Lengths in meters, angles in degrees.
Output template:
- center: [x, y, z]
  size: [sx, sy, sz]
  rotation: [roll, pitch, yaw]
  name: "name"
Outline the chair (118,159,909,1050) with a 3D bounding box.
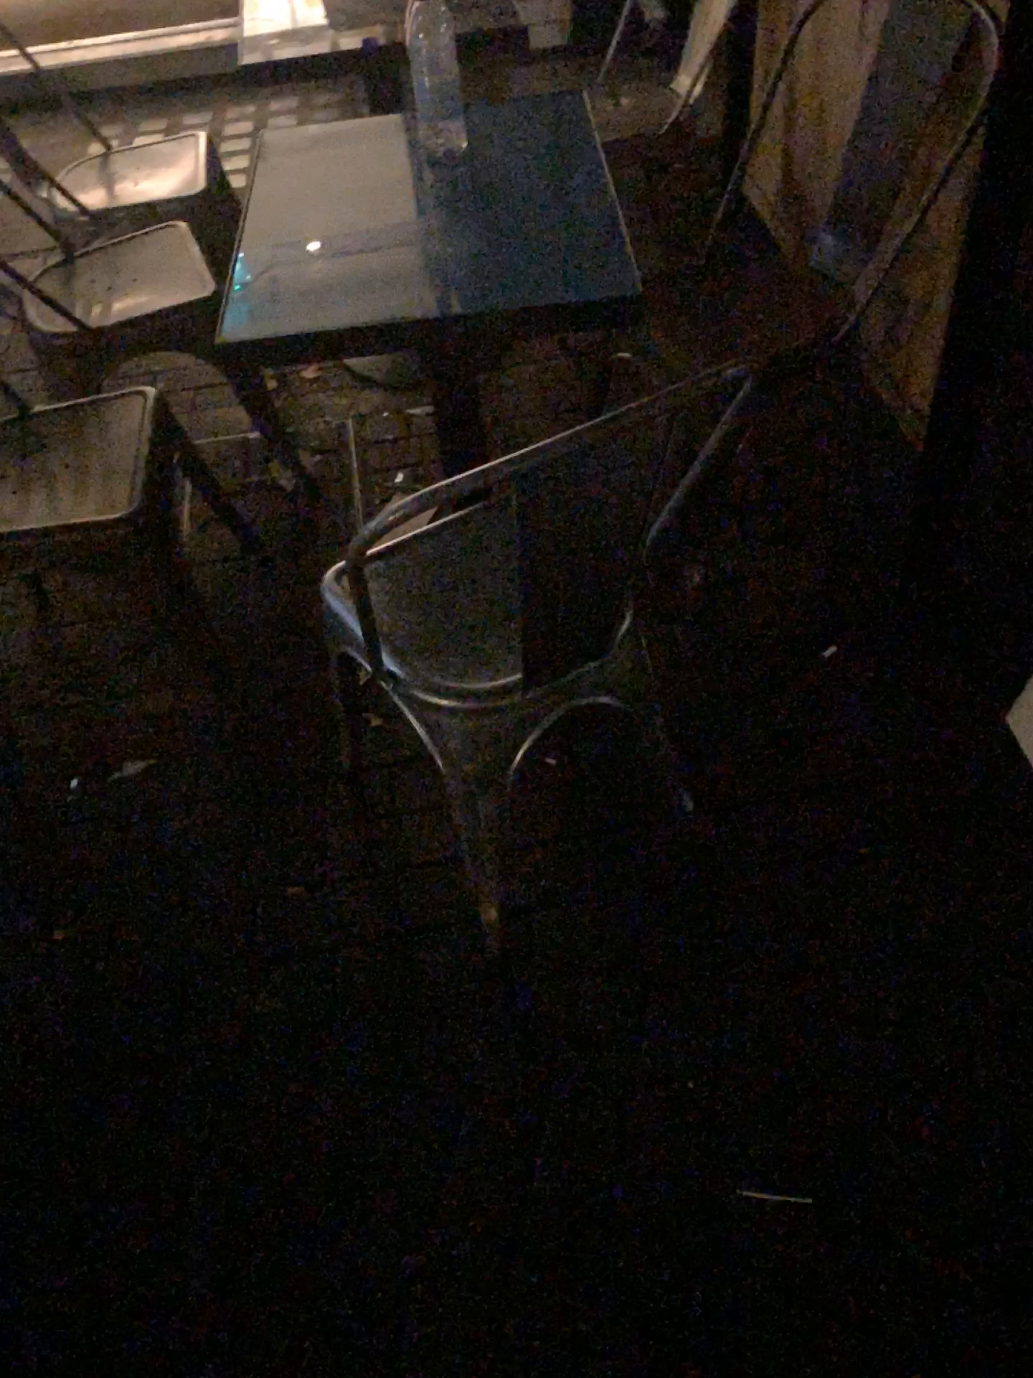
- center: [-0.006, -0.103, 1.261]
  size: [0.501, 0.723, 0.604]
  rotation: [-30, 51, -20]
  name: "chair"
